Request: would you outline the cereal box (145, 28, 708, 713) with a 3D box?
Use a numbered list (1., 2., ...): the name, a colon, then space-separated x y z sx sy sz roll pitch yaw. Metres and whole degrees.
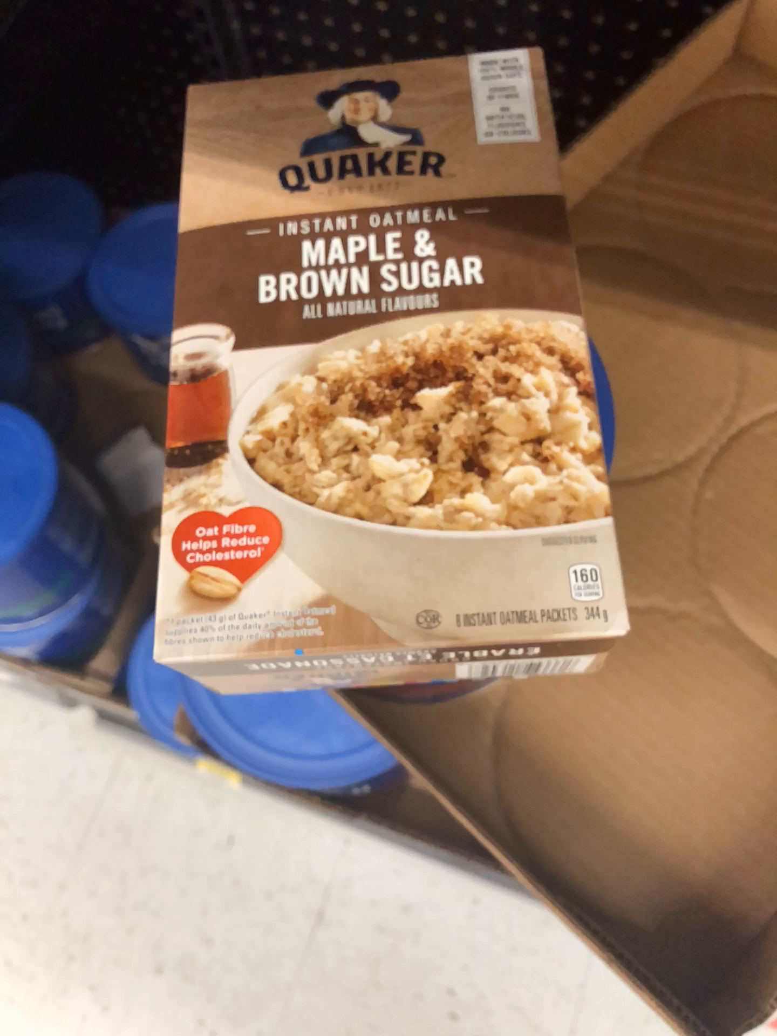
1. cereal box: 0.006 -0.047 0.285 0.140 0.070 0.200 -4 70 3
